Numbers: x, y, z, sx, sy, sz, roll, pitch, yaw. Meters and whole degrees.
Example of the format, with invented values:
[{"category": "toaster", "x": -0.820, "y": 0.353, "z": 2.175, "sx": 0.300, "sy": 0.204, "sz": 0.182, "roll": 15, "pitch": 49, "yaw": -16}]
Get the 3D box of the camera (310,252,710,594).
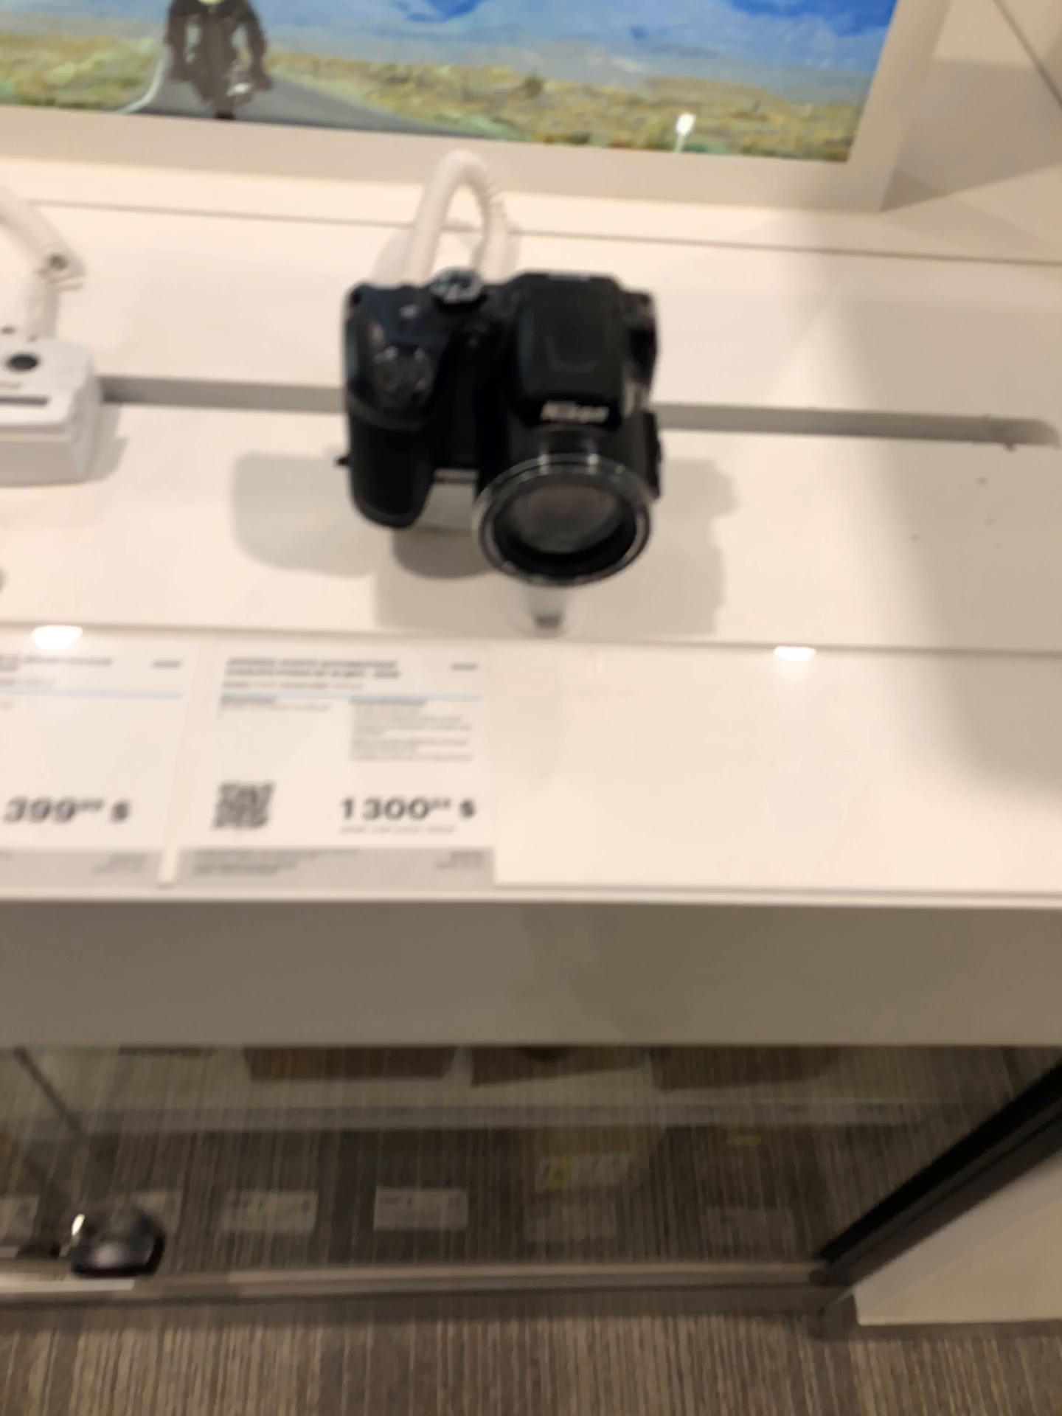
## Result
[{"category": "camera", "x": -0.011, "y": -0.096, "z": 0.392, "sx": 0.117, "sy": 0.067, "sz": 0.092, "roll": 0, "pitch": 52, "yaw": -6}]
